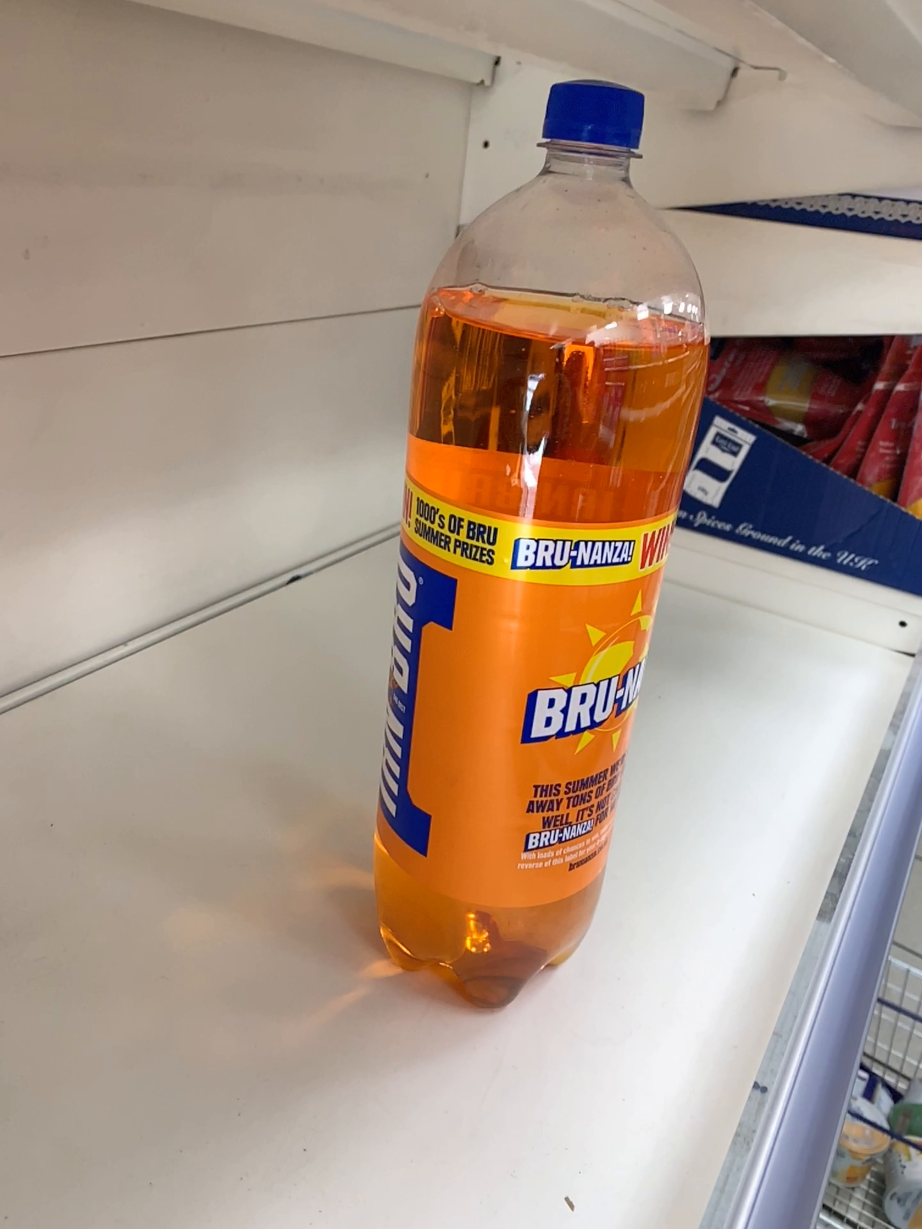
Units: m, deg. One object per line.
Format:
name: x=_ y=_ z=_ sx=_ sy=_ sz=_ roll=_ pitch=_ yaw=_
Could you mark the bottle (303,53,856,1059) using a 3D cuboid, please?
bottle: x=0.025 y=-0.014 z=0.358 sx=0.110 sy=0.327 sz=0.111 roll=6 pitch=25 yaw=-3
